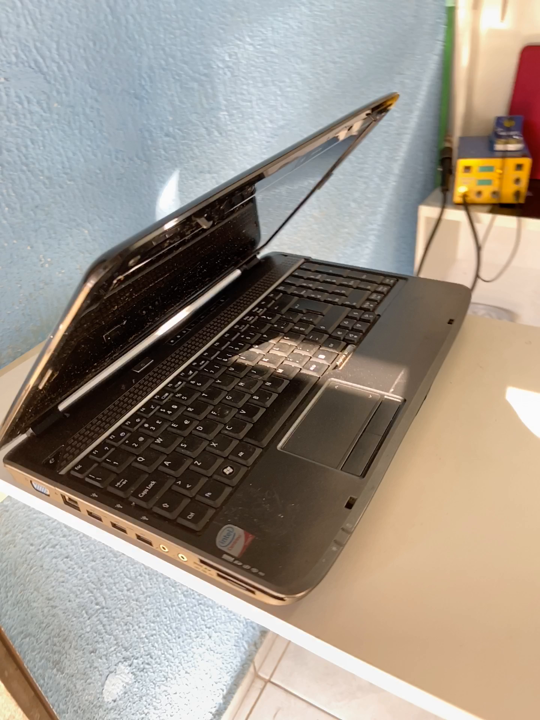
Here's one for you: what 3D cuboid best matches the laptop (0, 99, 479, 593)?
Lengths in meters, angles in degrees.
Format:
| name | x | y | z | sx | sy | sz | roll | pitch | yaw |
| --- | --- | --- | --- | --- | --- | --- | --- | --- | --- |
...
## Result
| name | x | y | z | sx | sy | sz | roll | pitch | yaw |
| --- | --- | --- | --- | --- | --- | --- | --- | --- | --- |
| laptop | -0.007 | -0.075 | 0.433 | 0.235 | 0.174 | 0.380 | 13 | 37 | 27 |
